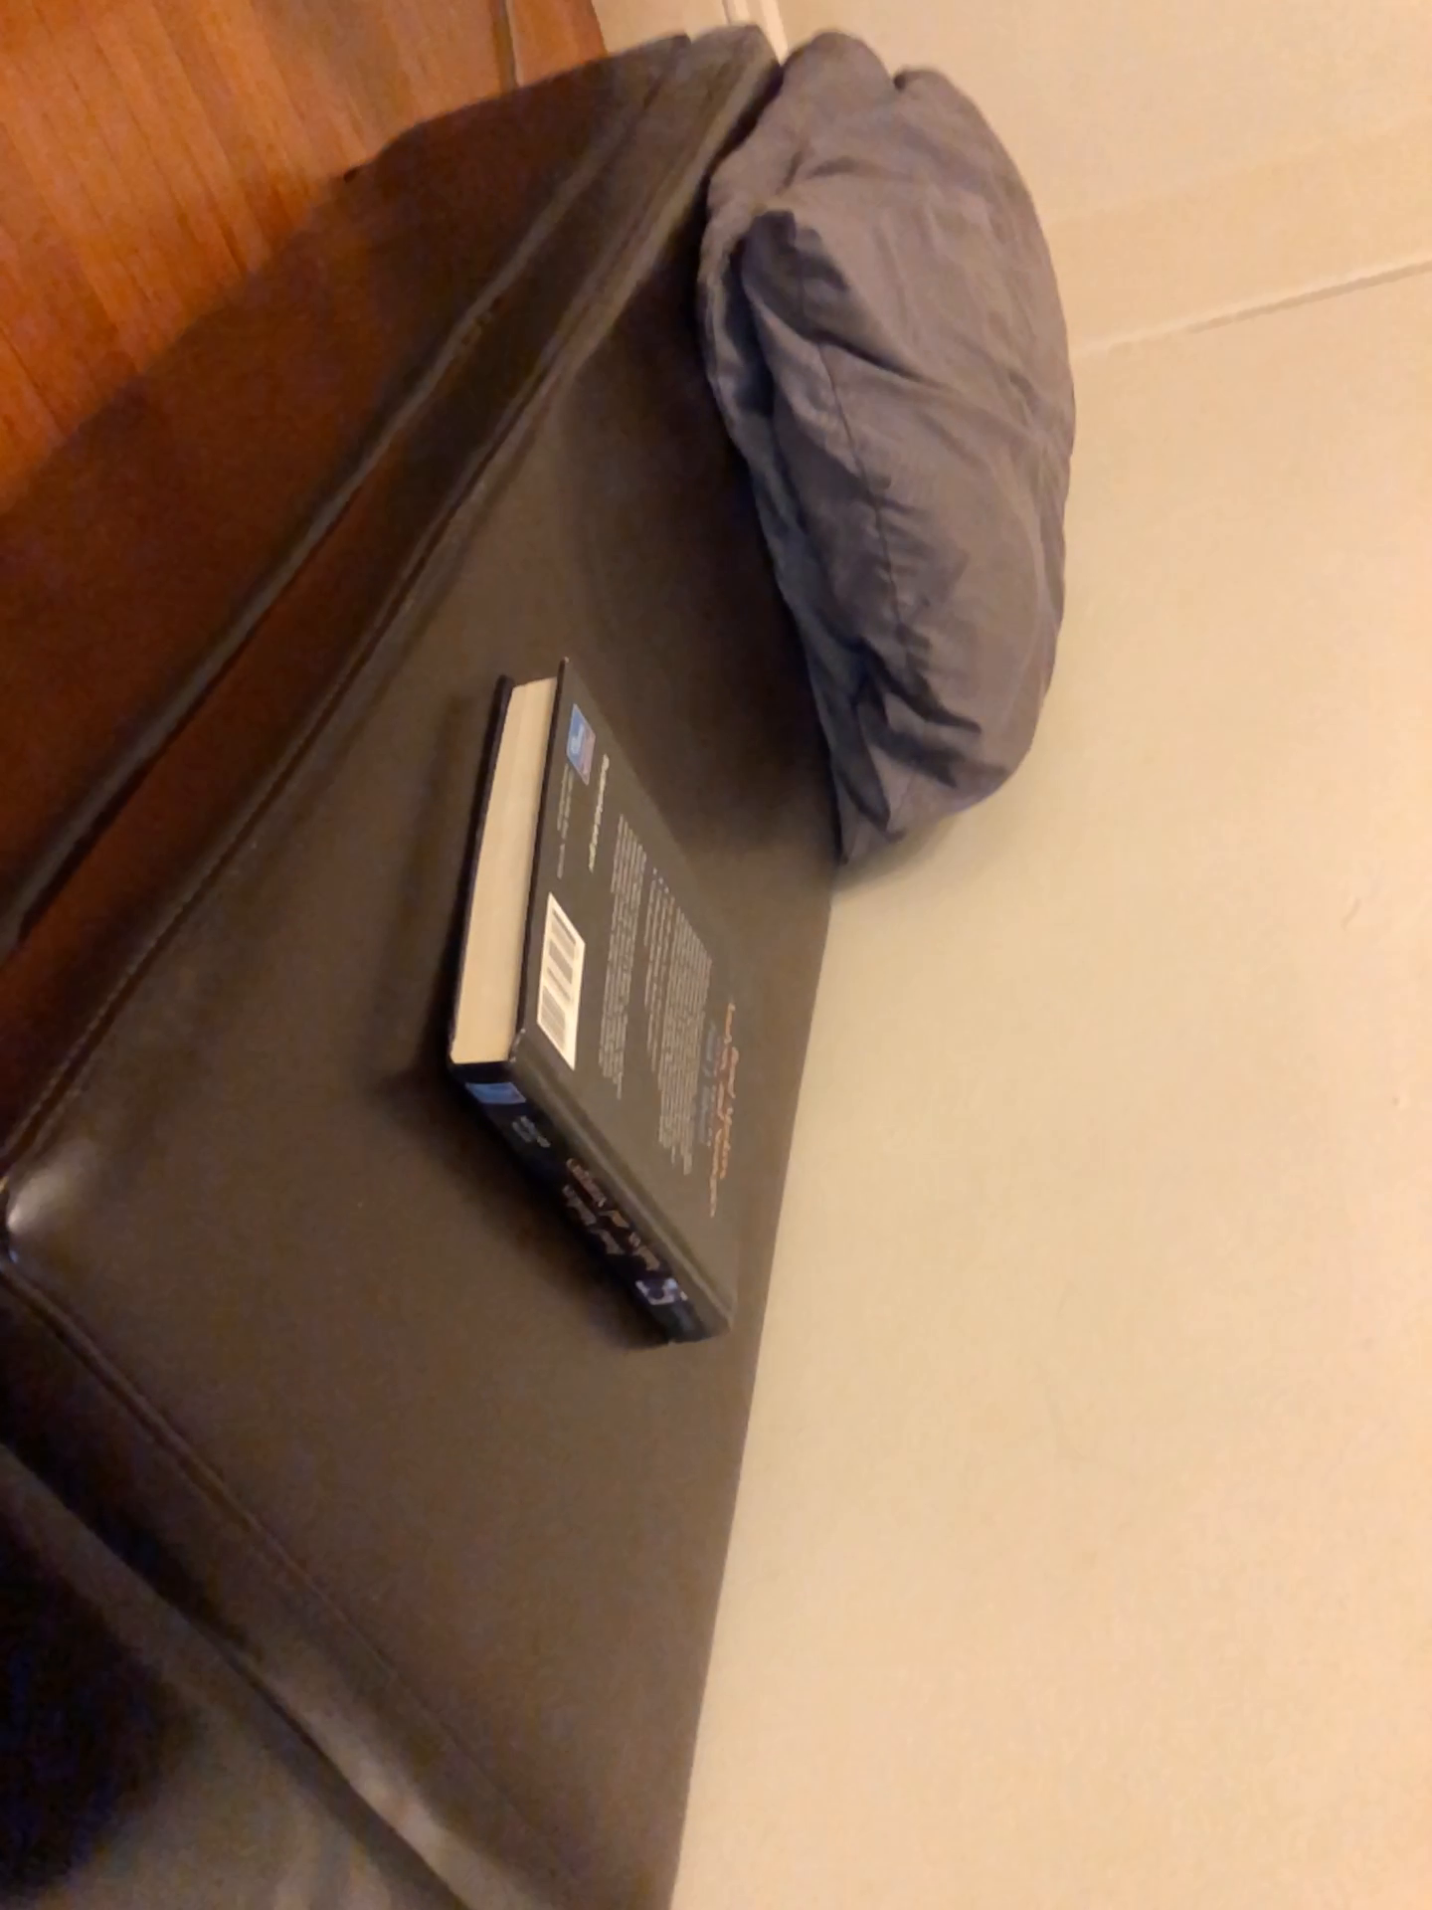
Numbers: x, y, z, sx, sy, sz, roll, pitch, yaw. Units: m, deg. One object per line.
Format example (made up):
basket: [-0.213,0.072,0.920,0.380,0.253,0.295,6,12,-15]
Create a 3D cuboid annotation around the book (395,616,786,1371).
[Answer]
book: [-0.033,0.028,0.647,0.261,0.040,0.200,59,29,-50]
